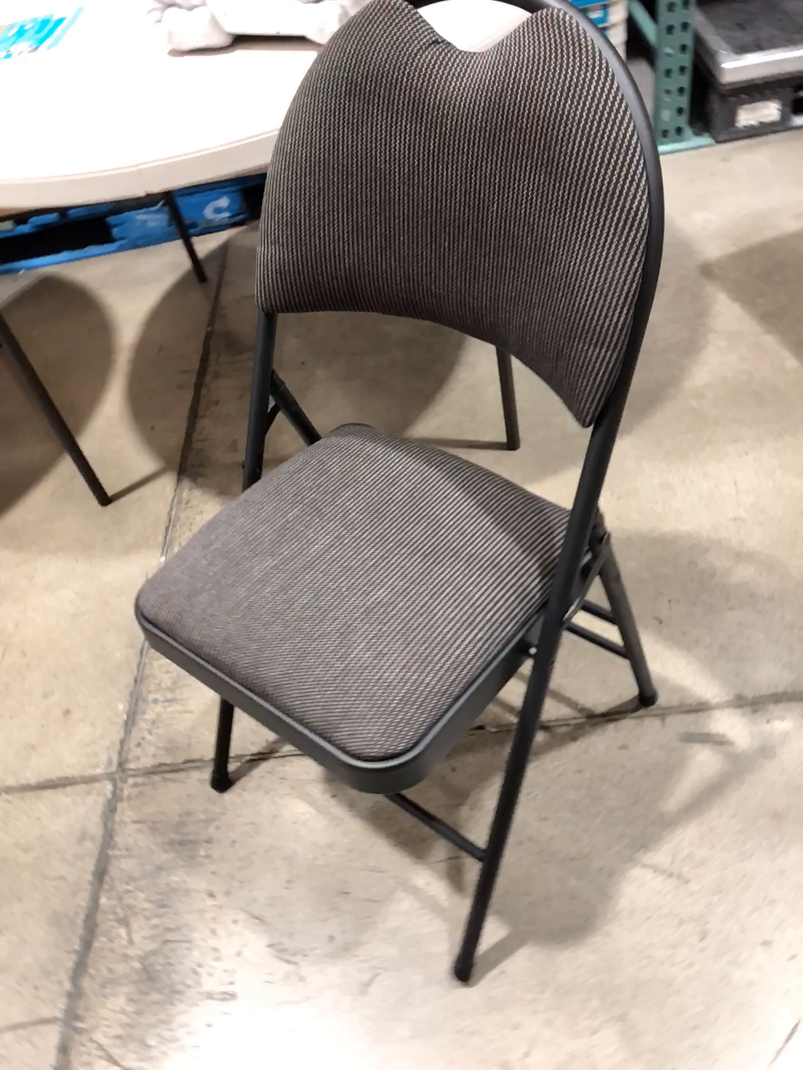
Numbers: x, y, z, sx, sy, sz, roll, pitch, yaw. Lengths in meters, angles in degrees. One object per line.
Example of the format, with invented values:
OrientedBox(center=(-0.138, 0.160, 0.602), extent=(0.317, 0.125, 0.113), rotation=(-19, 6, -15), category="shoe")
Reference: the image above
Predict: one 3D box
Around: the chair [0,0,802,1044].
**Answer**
OrientedBox(center=(-0.007, -0.013, 0.906), extent=(0.511, 0.857, 0.560), rotation=(28, 60, 33), category="chair")
